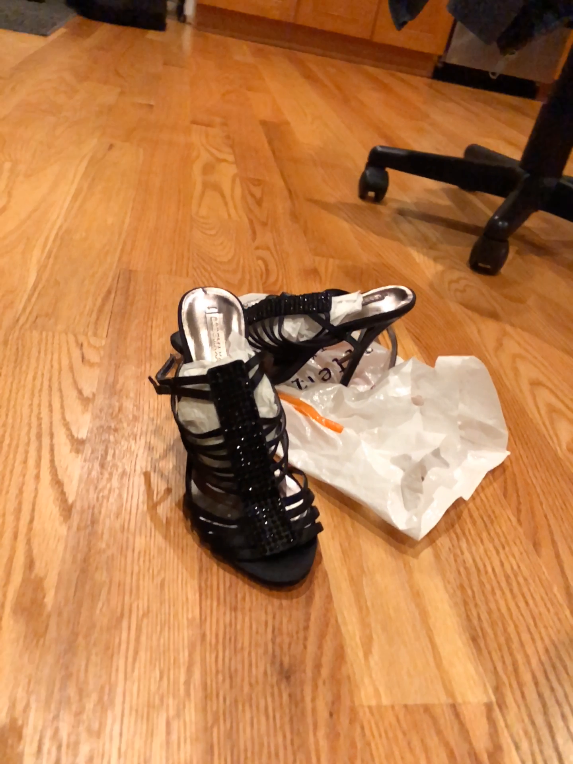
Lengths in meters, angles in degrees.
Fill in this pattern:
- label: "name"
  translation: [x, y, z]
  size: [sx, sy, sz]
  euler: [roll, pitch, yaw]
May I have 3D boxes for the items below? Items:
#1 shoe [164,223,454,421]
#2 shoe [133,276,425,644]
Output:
- label: "shoe"
  translation: [0.013, -0.051, 0.550]
  size: [0.217, 0.112, 0.092]
  euler: [8, 32, -8]
- label: "shoe"
  translation: [-0.025, 0.030, 0.411]
  size: [0.090, 0.112, 0.218]
  euler: [-6, 36, -27]
